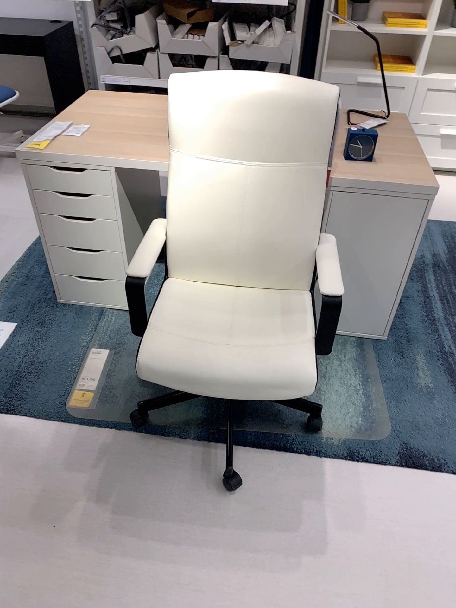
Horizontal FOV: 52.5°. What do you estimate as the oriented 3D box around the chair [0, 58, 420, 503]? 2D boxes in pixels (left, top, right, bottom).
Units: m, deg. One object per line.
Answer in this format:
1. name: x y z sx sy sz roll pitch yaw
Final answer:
1. chair: -0.018 -0.059 1.301 0.690 0.956 0.703 6 41 5
